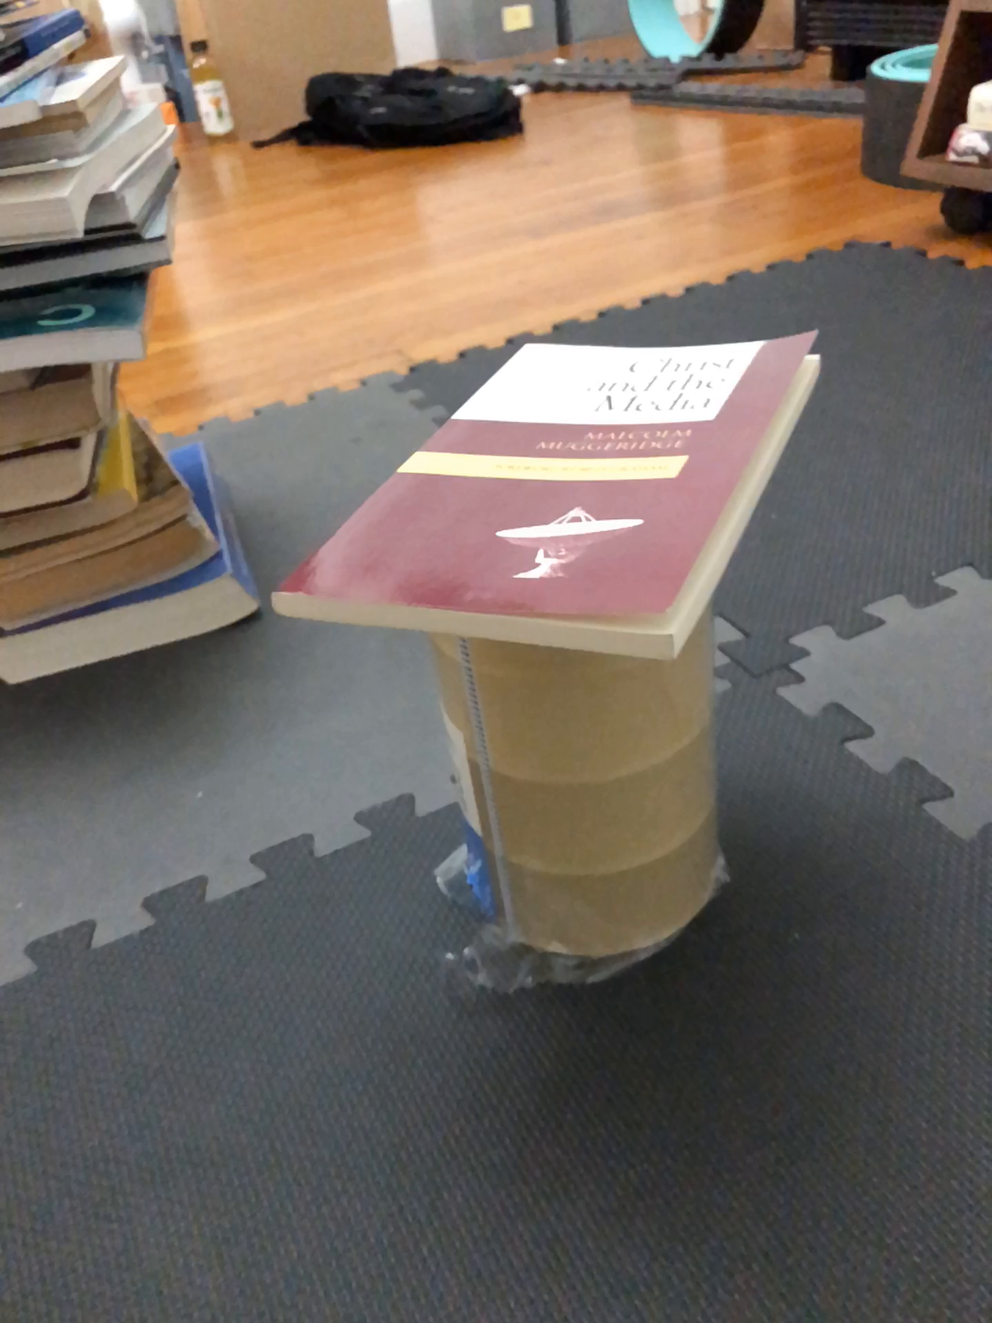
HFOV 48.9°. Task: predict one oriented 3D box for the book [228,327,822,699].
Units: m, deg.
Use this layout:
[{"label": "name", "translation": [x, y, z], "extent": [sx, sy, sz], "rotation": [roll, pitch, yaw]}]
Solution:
[{"label": "book", "translation": [0.025, -0.068, 0.381], "extent": [0.140, 0.020, 0.211], "rotation": [7, 39, 22]}]
